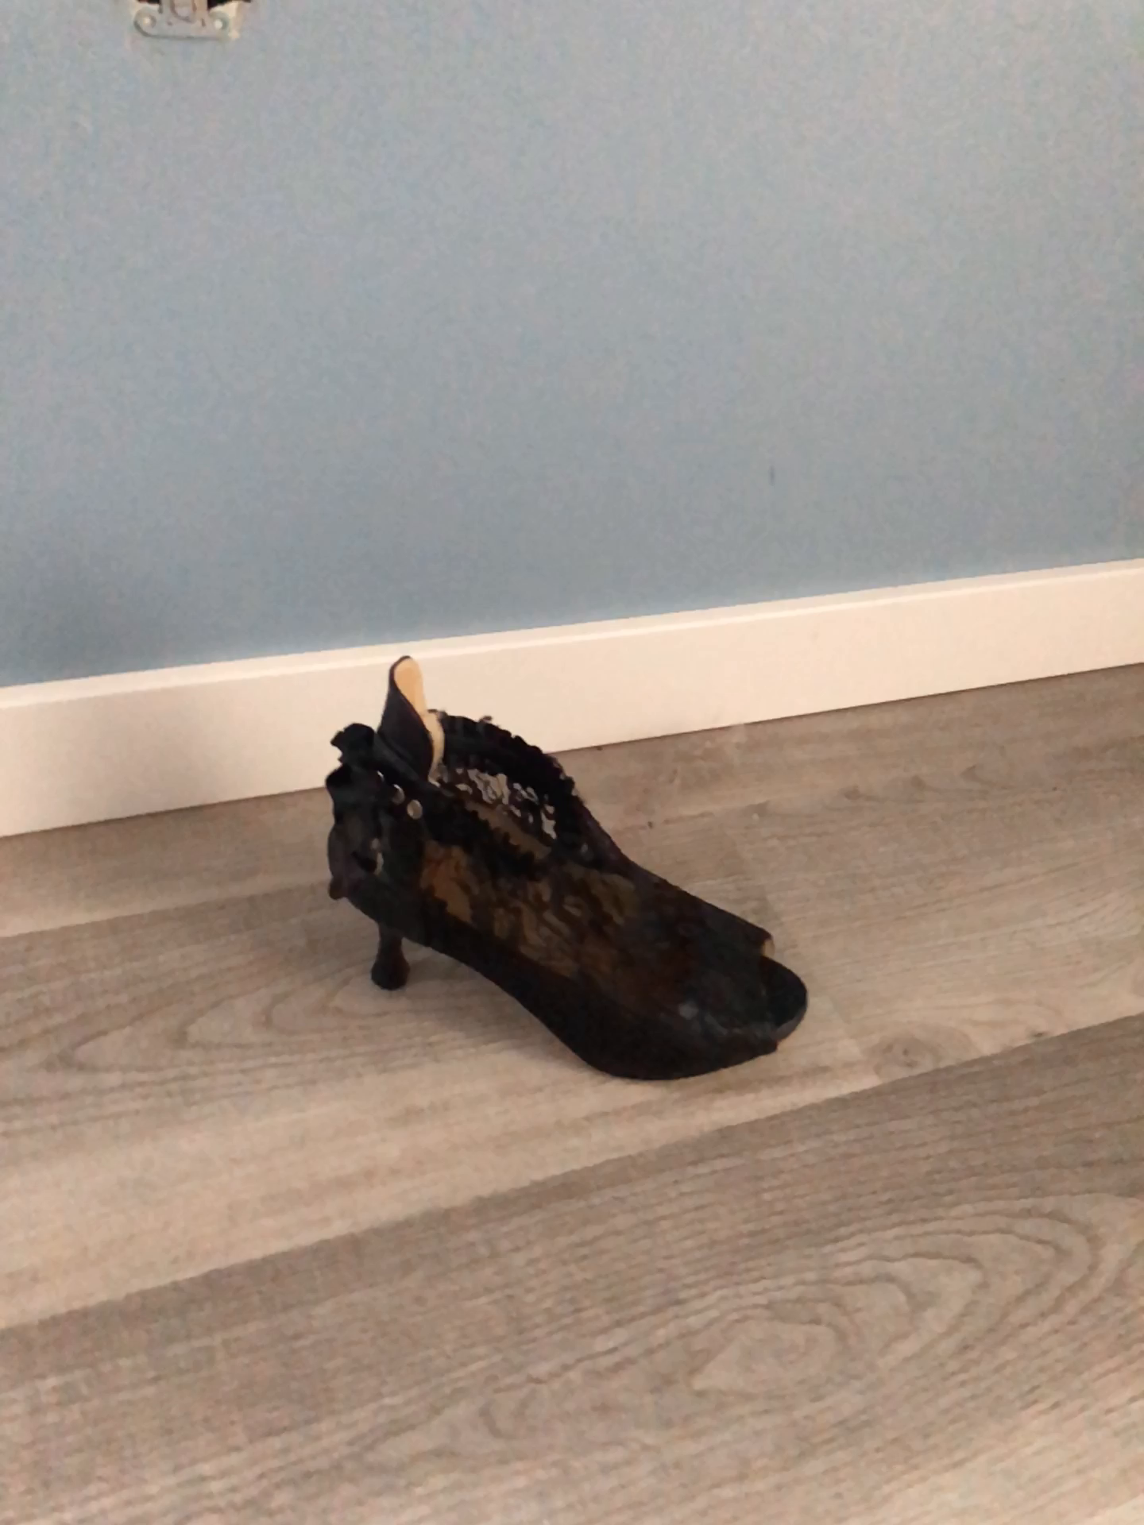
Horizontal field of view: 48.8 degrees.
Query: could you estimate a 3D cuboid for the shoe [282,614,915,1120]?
[{"bbox_3d":[0.006,0.044,0.515,0.220,0.140,0.100,11,43,0],"label":"shoe"}]
